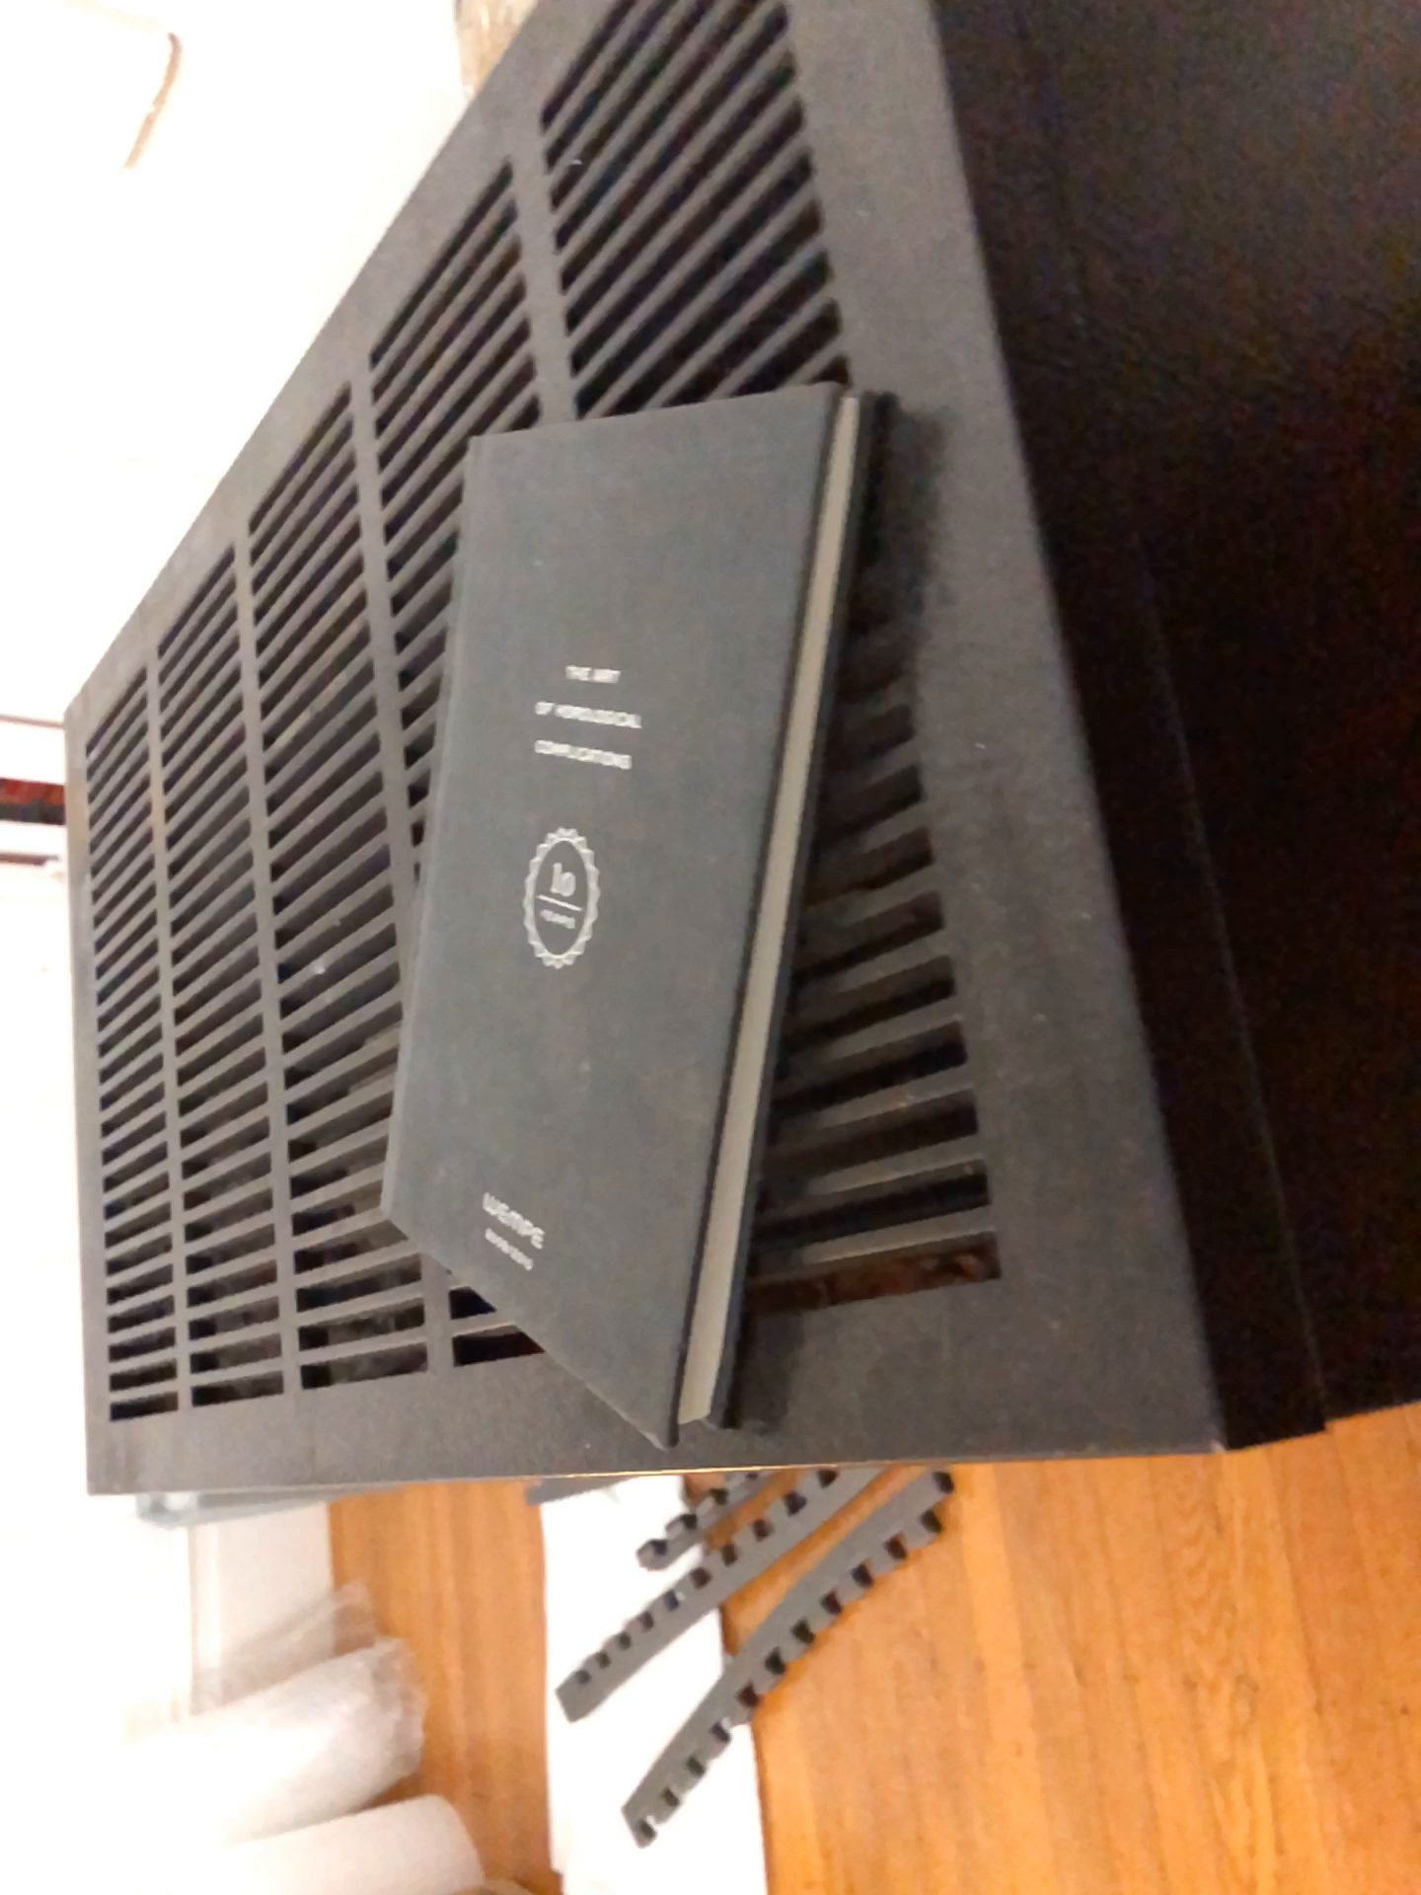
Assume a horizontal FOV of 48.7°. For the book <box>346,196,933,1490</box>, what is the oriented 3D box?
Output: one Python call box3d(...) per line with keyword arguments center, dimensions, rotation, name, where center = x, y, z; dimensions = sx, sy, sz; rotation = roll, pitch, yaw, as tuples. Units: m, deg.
box3d(center=(-0.031, -0.028, 0.371), dimensions=(0.161, 0.020, 0.250), rotation=(18, 102, 54), name="book")
